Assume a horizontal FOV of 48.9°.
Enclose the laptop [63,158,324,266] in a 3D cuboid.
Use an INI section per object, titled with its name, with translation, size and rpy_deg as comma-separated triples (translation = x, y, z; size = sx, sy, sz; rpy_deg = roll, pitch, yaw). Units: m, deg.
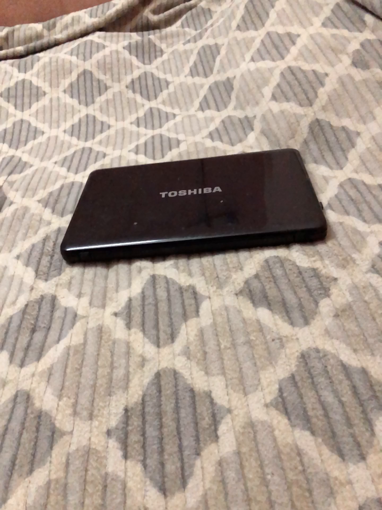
[laptop]
translation = 0.001, -0.081, 0.706
size = 0.375, 0.023, 0.249
rpy_deg = -5, 36, 6
